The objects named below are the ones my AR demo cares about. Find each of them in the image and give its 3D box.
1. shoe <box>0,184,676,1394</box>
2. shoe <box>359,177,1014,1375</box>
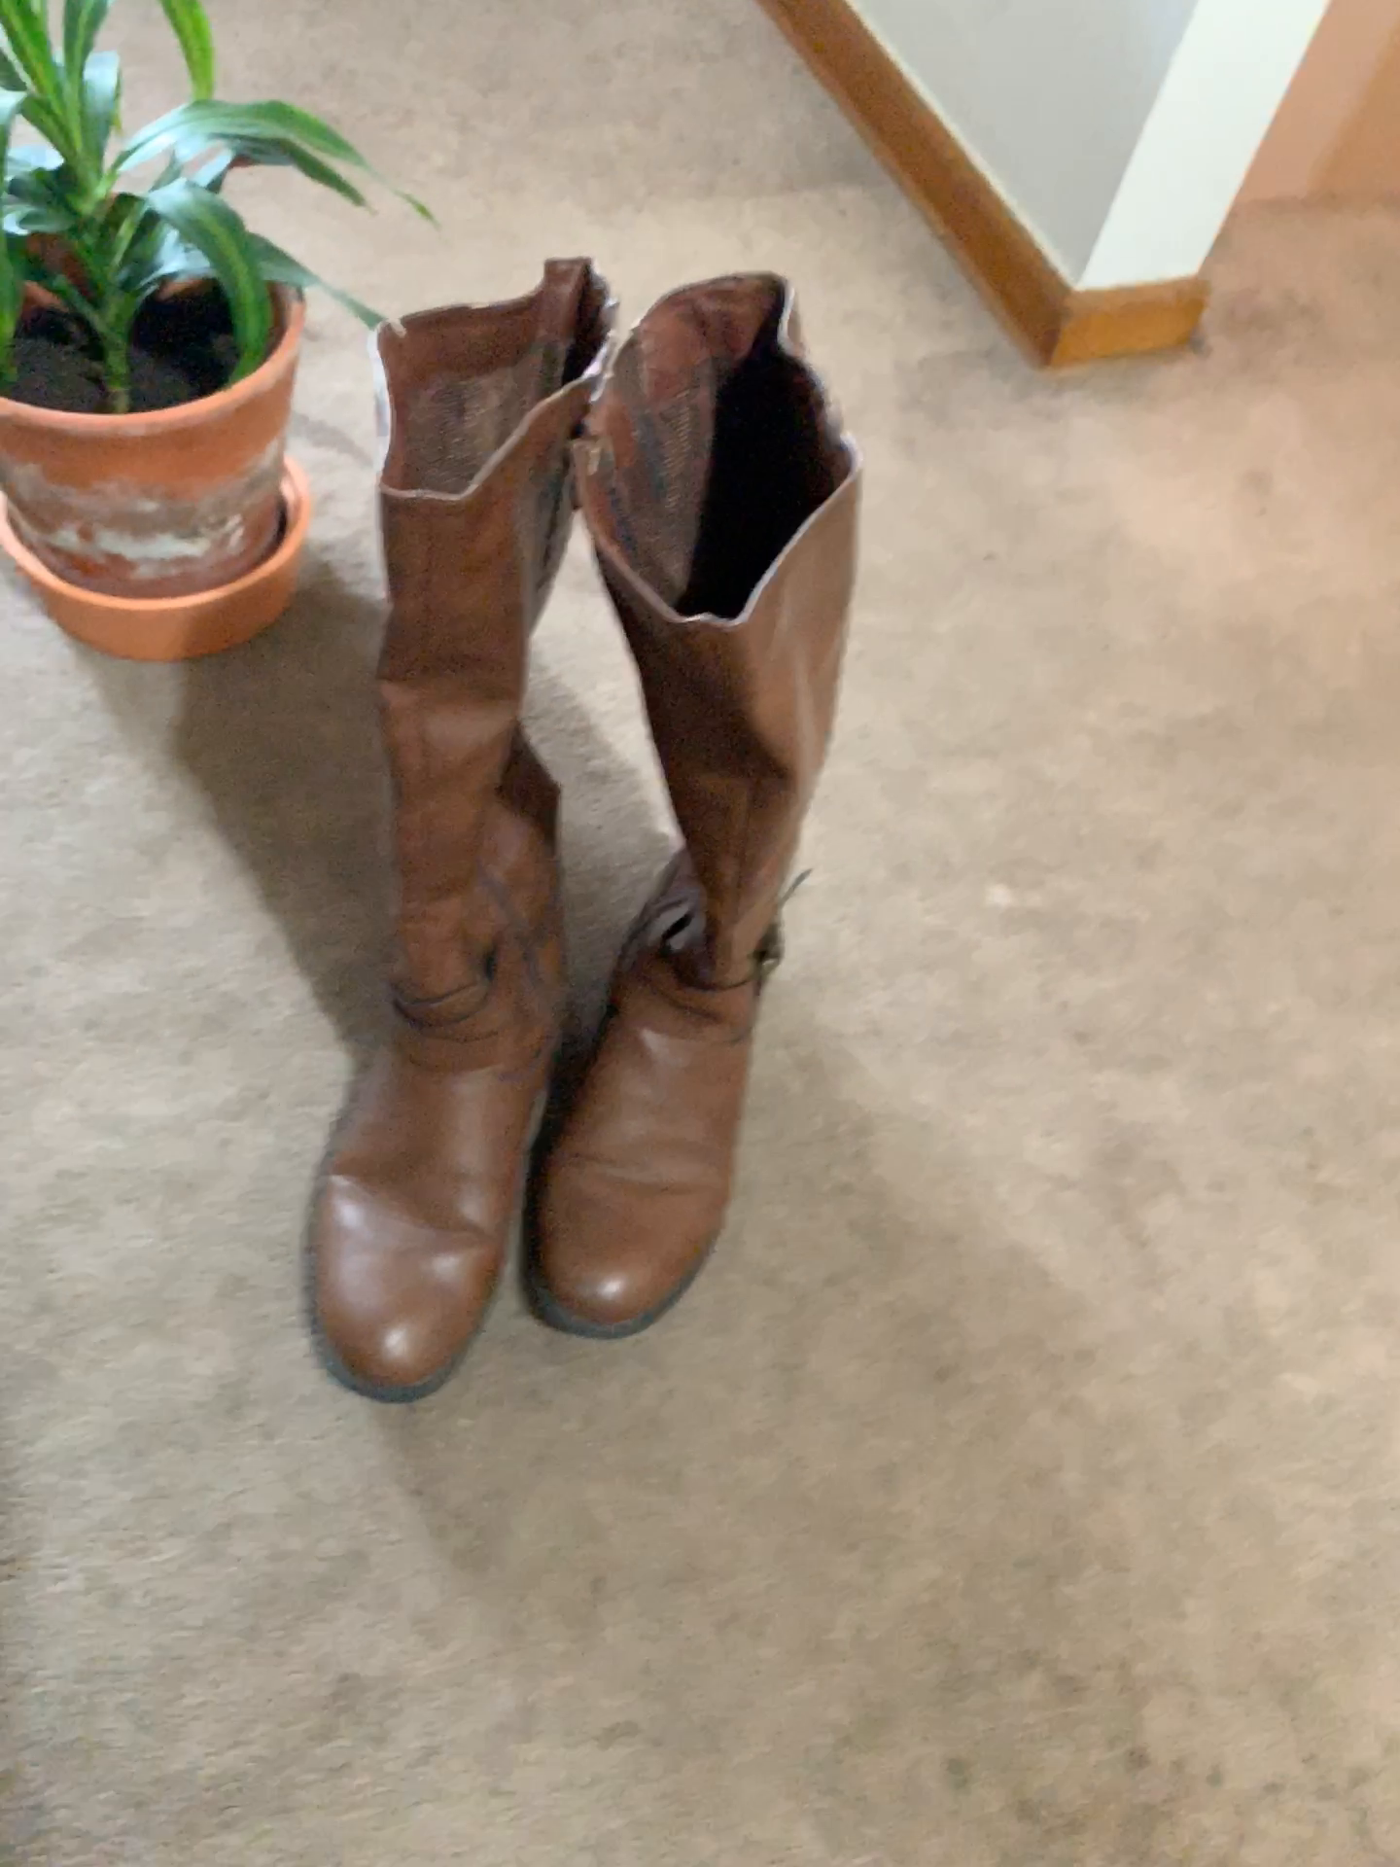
[{"bbox_3d":[-0.107,-0.020,0.536,0.110,0.367,0.262,12,56,-2],"label":"shoe"},{"bbox_3d":[-0.014,-0.028,0.580,0.120,0.397,0.272,17,56,2],"label":"shoe"}]
